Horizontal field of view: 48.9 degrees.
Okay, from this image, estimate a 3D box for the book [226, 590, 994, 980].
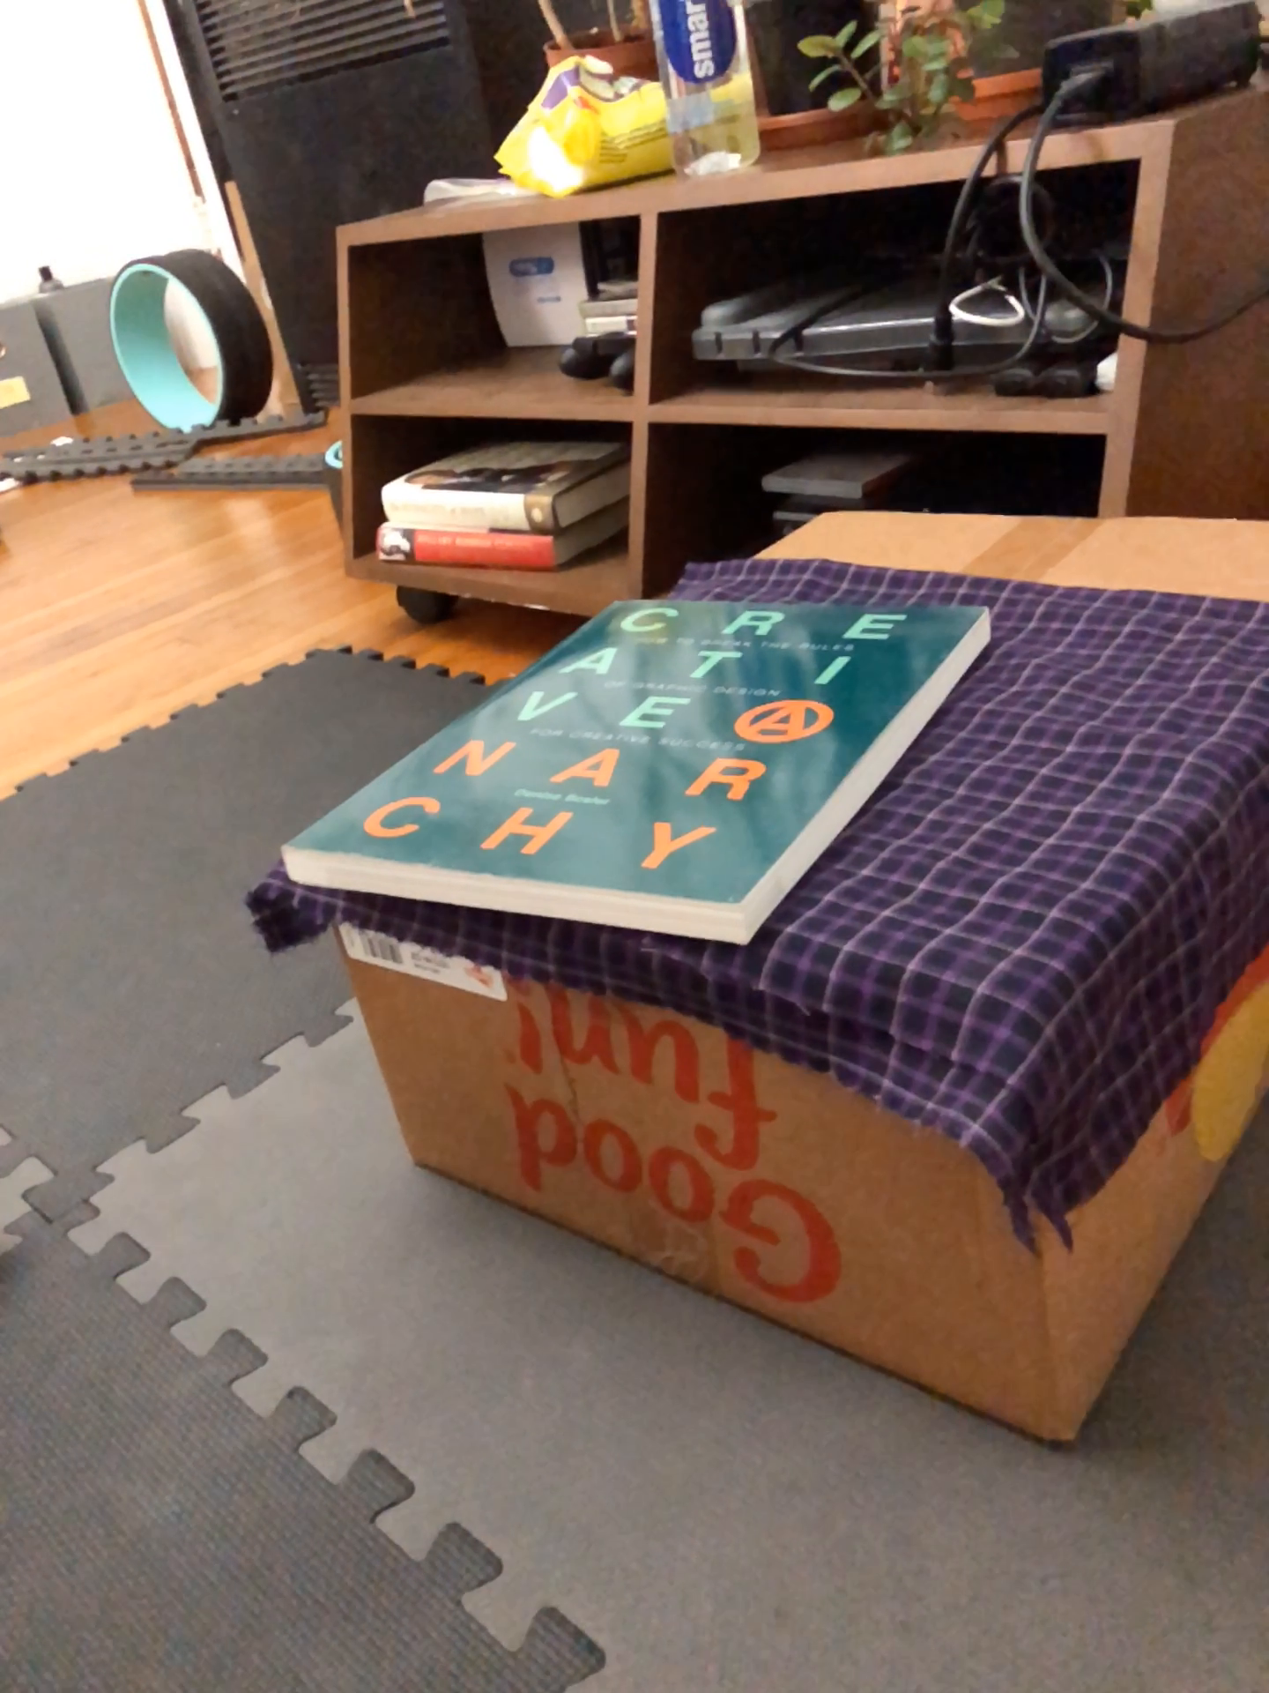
[{"bbox_3d":[0.006,-0.050,0.614,0.220,0.020,0.301,6,33,30],"label":"book"}]
